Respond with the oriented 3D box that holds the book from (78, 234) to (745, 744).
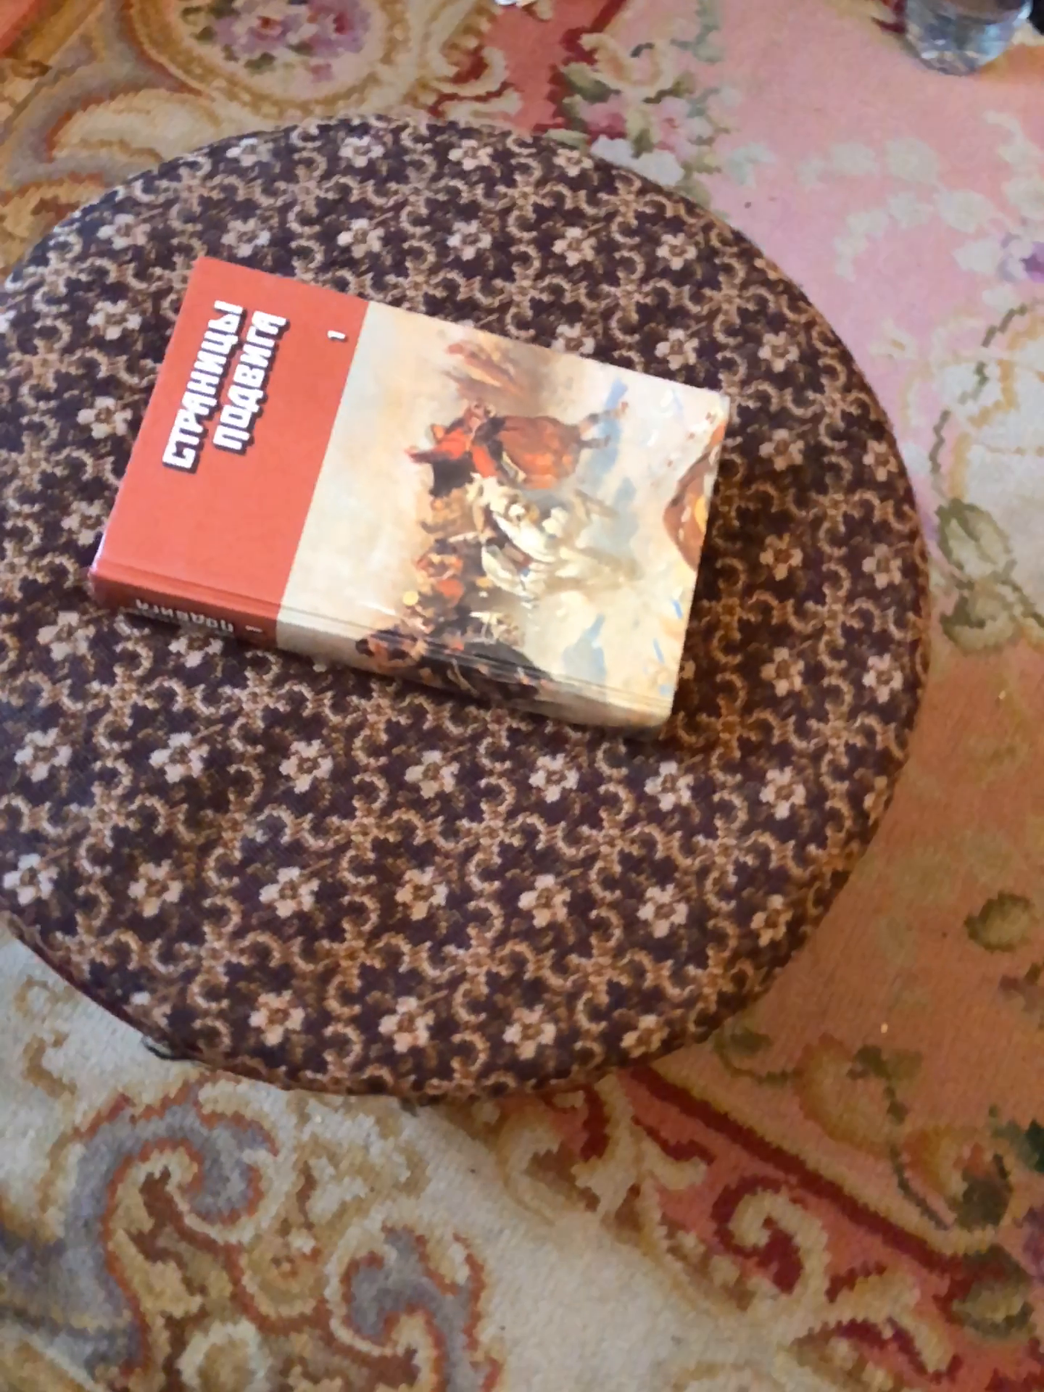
[{"bbox_3d":[-0.034,-0.075,0.419,0.206,0.040,0.135,14,74,-3],"label":"book"}]
